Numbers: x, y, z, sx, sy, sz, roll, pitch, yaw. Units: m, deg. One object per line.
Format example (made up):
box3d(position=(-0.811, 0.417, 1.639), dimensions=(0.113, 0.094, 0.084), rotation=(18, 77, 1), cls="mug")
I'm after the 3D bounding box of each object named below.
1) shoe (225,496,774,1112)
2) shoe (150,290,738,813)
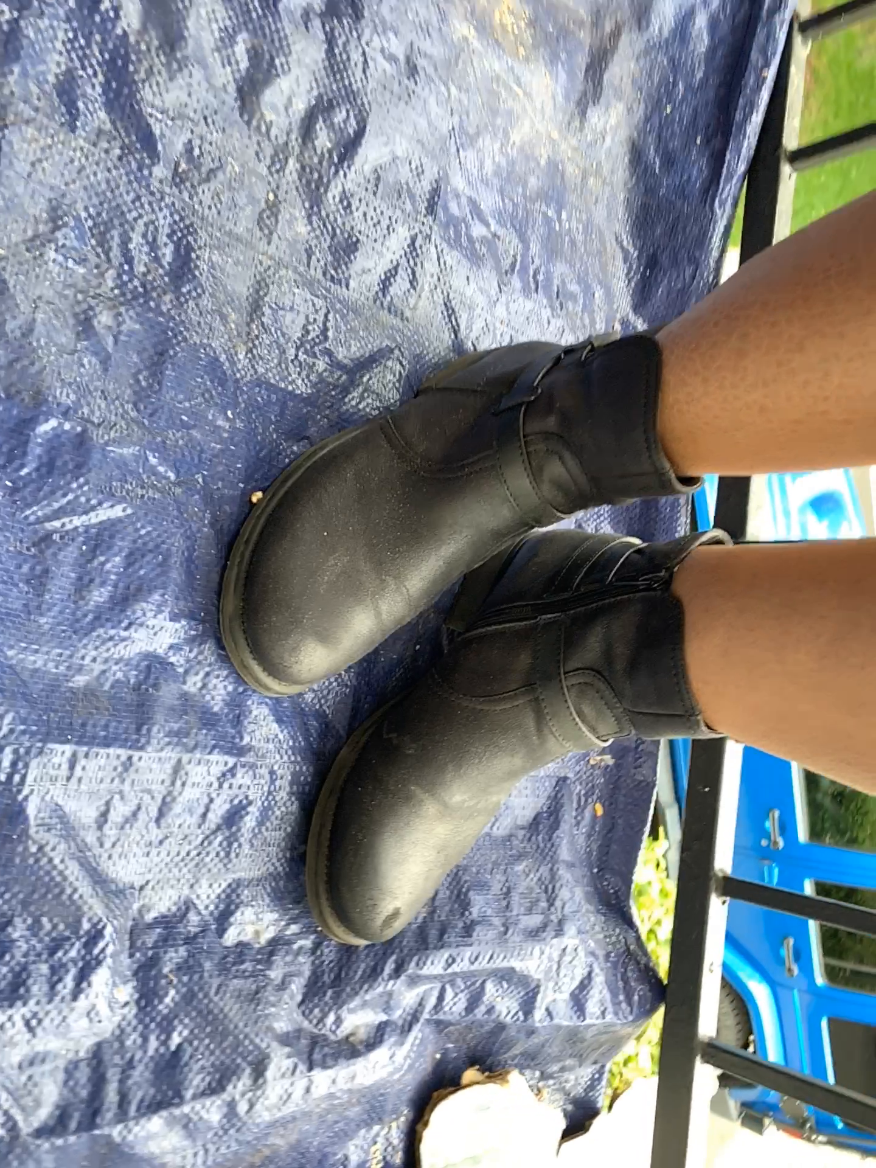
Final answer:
box3d(position=(0.050, 0.082, 0.449), dimensions=(0.281, 0.109, 0.110), rotation=(-46, 121, -34), cls="shoe")
box3d(position=(0.021, -0.033, 0.450), dimensions=(0.281, 0.129, 0.100), rotation=(-44, 119, -35), cls="shoe")
